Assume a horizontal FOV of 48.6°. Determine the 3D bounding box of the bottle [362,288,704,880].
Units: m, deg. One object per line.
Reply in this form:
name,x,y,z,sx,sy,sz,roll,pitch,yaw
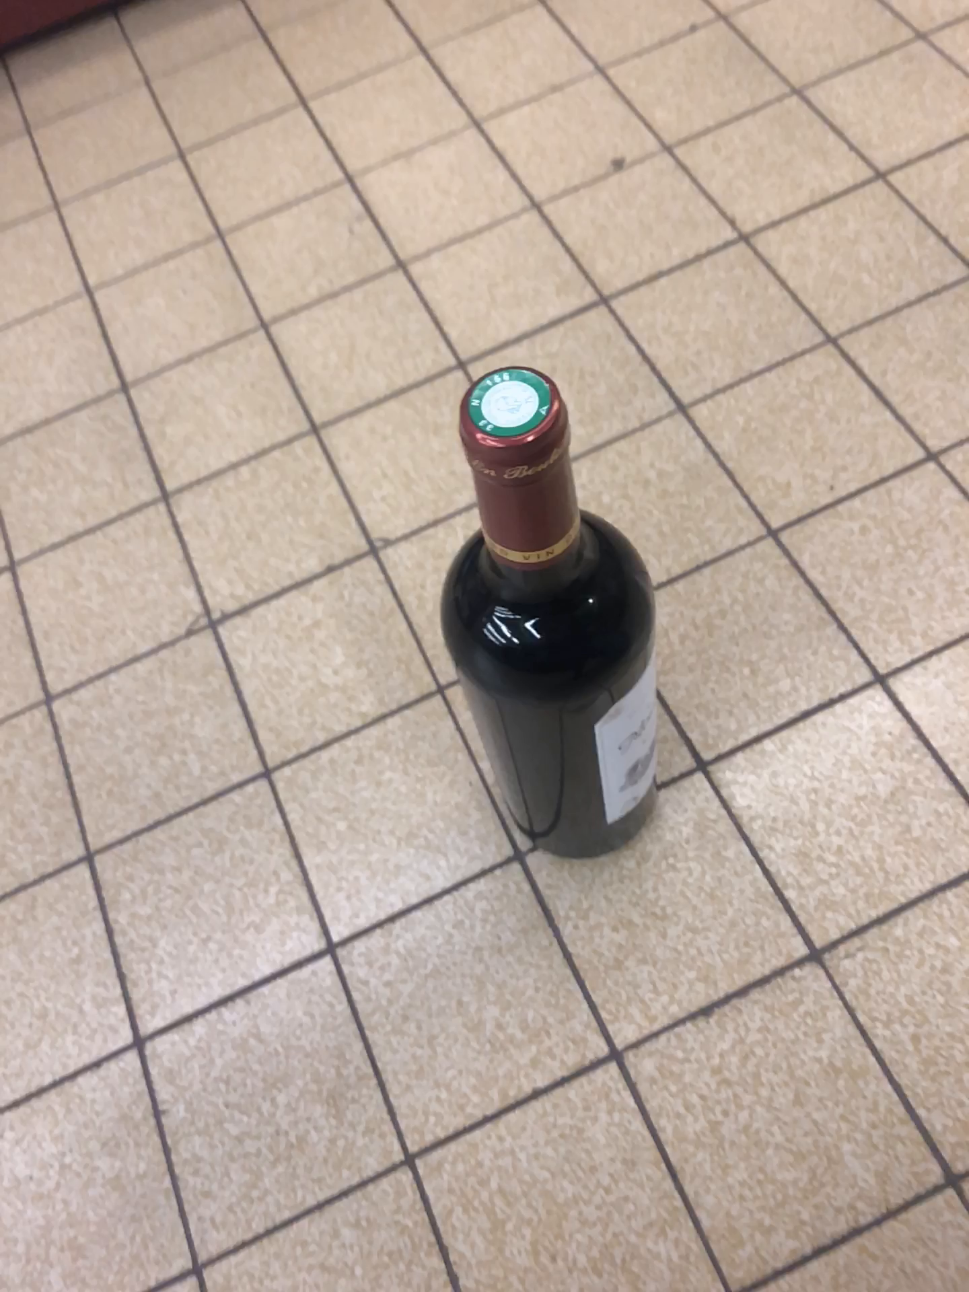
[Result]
bottle,0.033,0.007,0.392,0.080,0.282,0.080,-4,62,7
